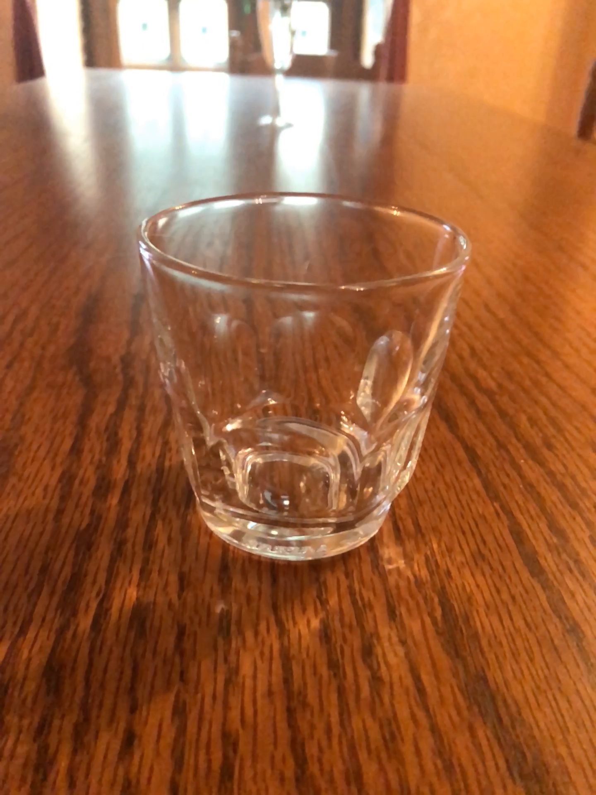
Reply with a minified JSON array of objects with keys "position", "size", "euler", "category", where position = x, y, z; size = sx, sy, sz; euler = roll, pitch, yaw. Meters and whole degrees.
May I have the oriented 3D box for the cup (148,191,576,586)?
[{"position":[0.006,-0.010,0.177],"size":[0.083,0.069,0.083],"euler":[2,28,-1],"category":"cup"}]
